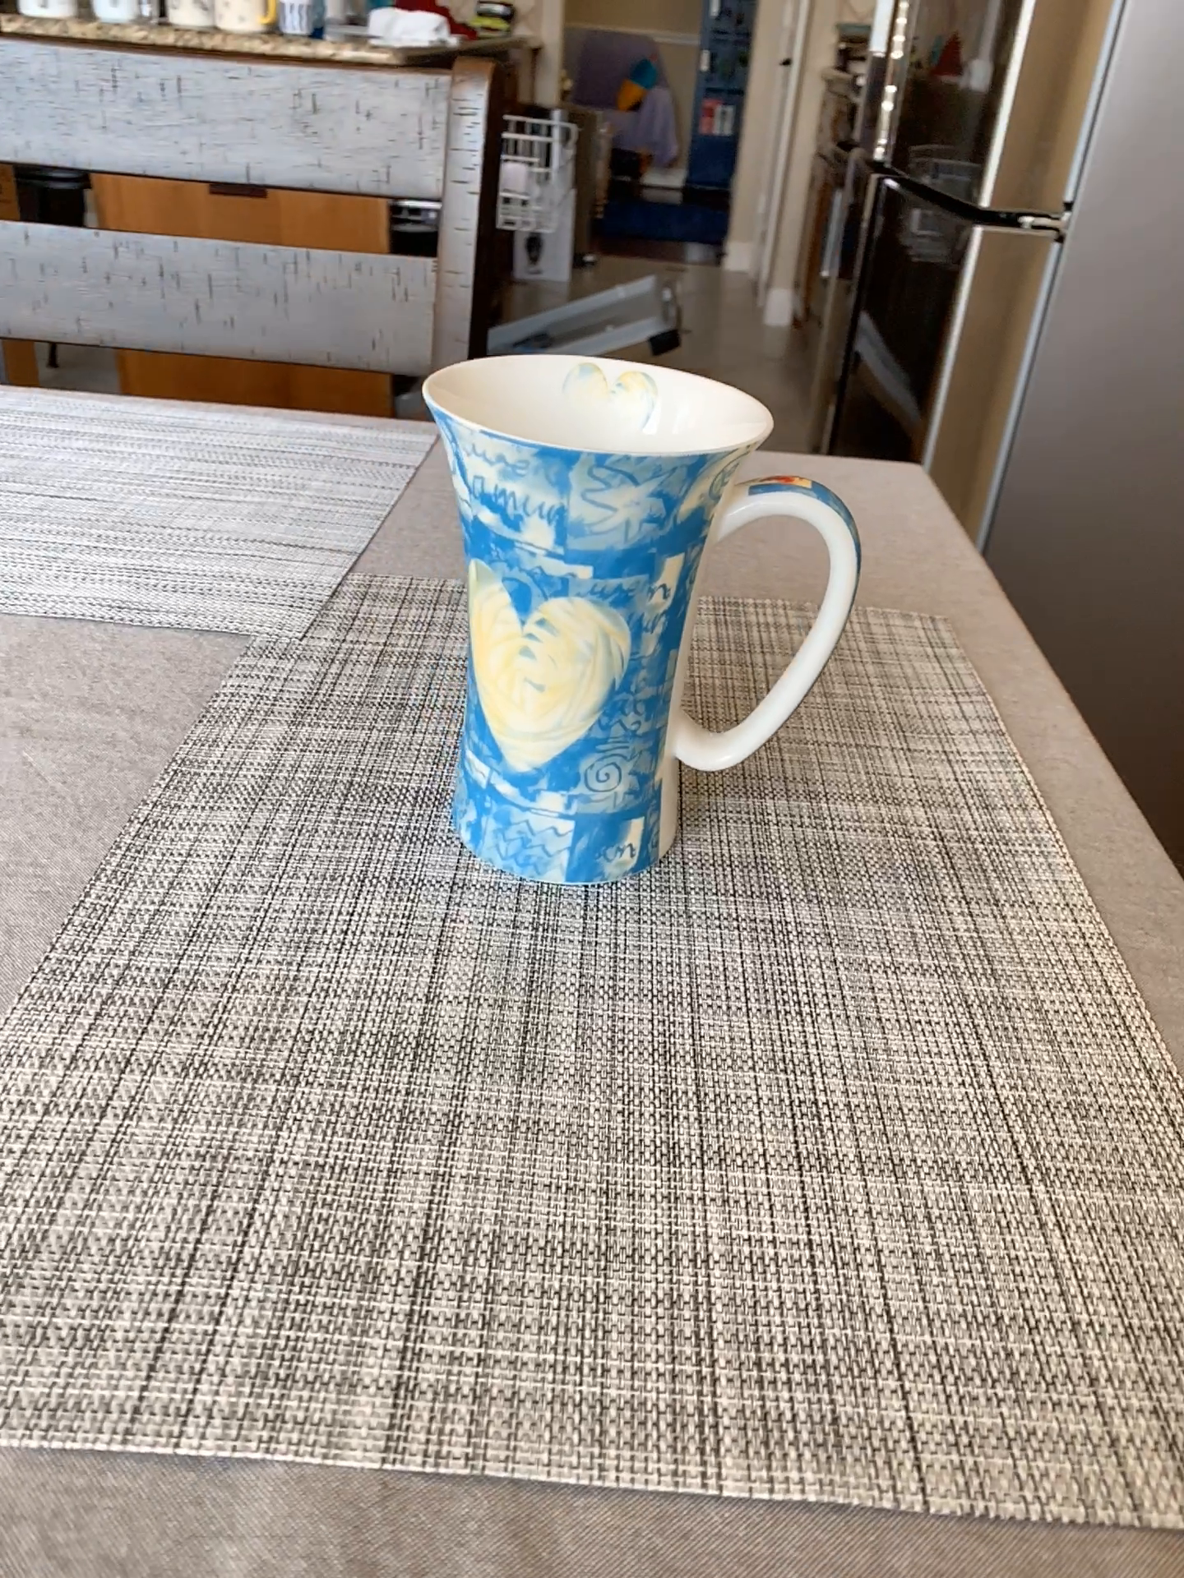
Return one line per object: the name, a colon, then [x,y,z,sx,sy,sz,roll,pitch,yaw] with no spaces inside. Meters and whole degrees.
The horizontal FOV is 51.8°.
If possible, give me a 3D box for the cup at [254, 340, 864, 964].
cup: [-0.009,-0.045,0.381,0.152,0.148,0.100,7,31,4]
